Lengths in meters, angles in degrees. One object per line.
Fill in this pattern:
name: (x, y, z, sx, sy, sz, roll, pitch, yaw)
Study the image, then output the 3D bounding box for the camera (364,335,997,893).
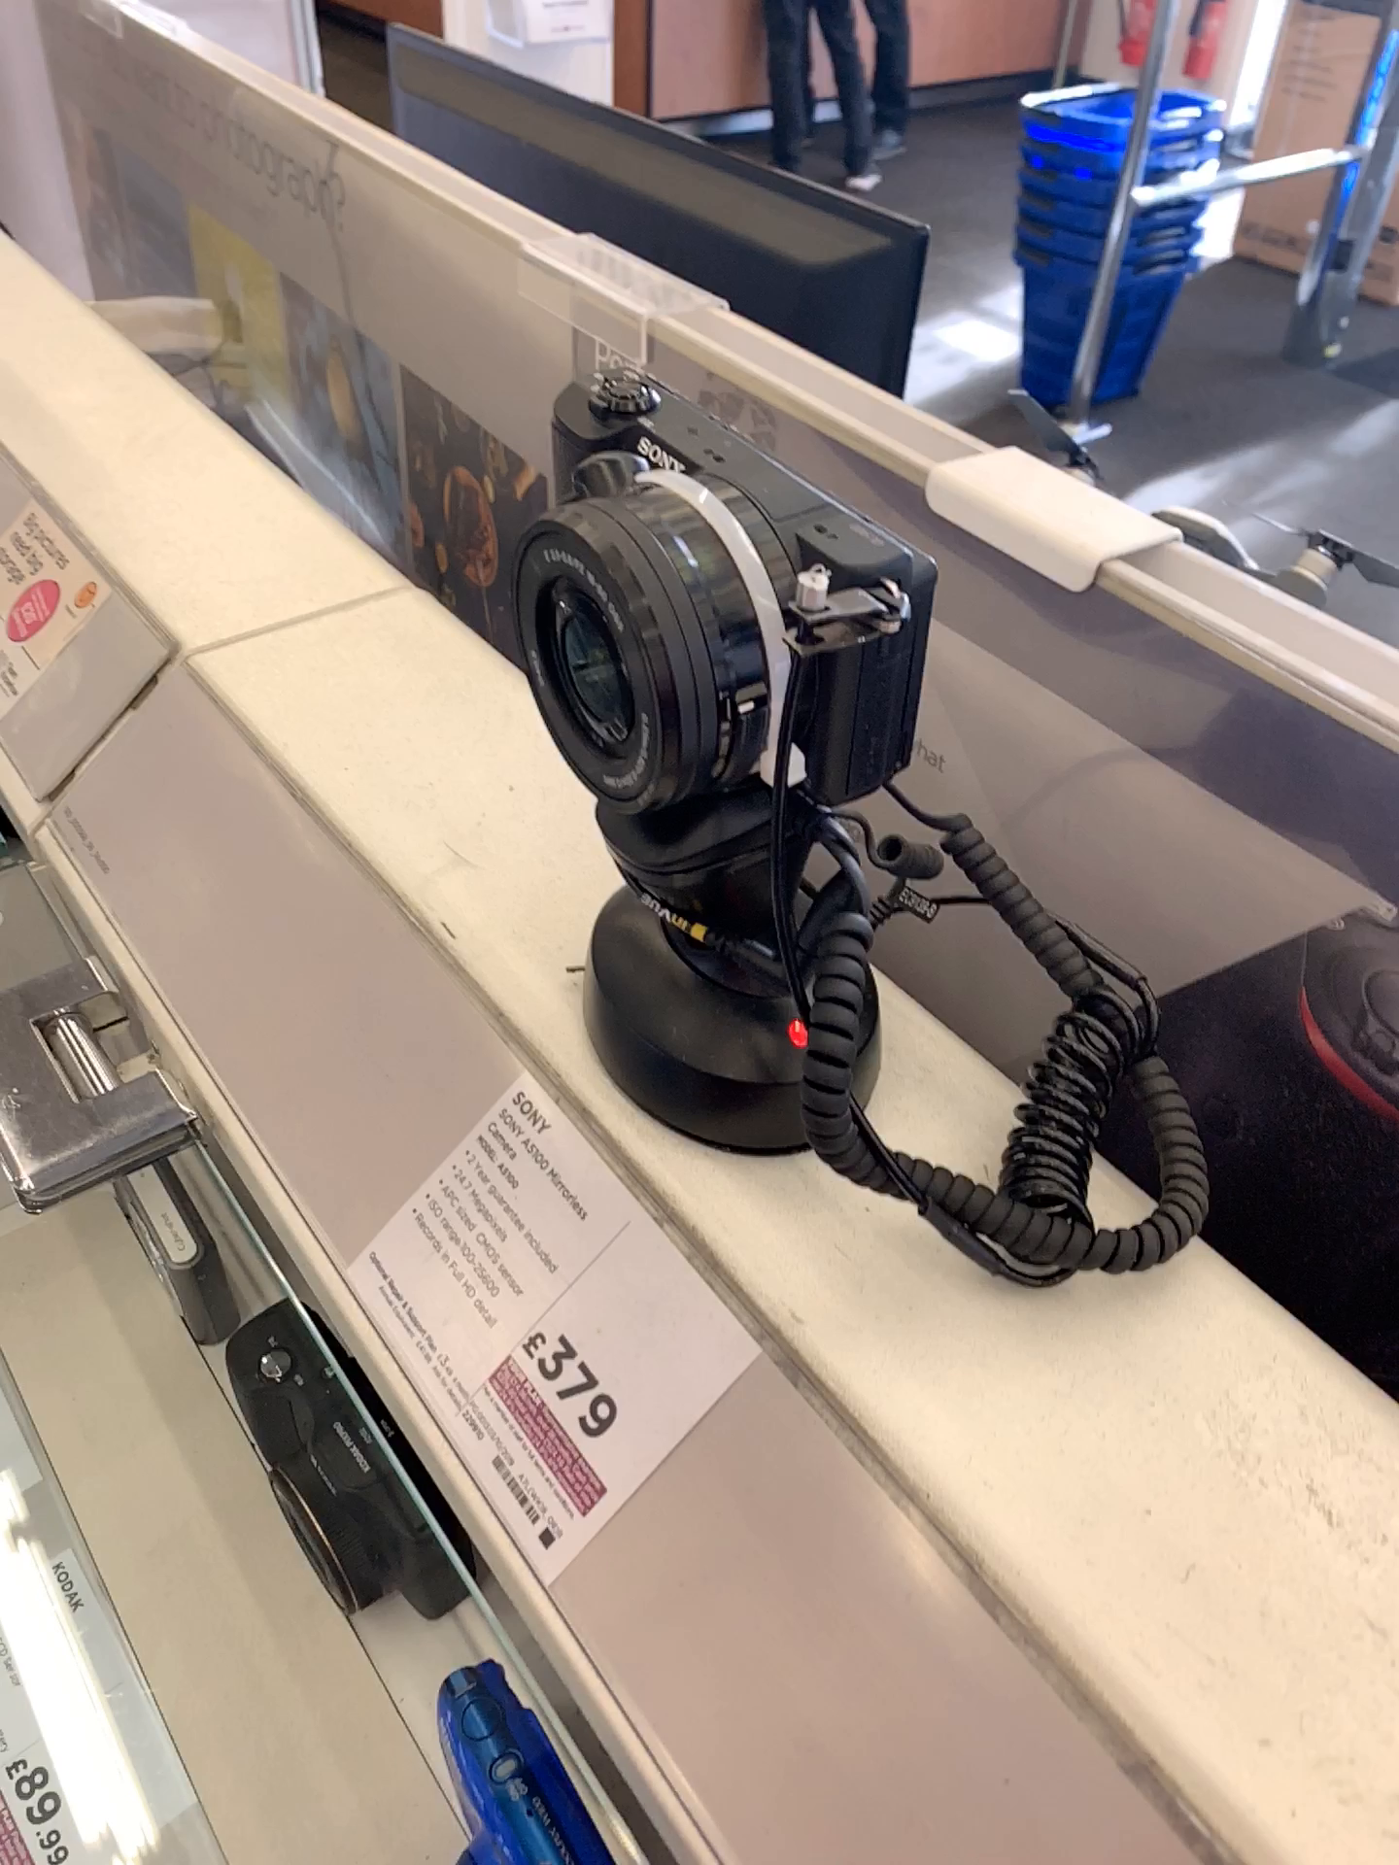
camera: (-0.010, -0.078, 0.321, 0.080, 0.059, 0.121, -22, 47, -26)
